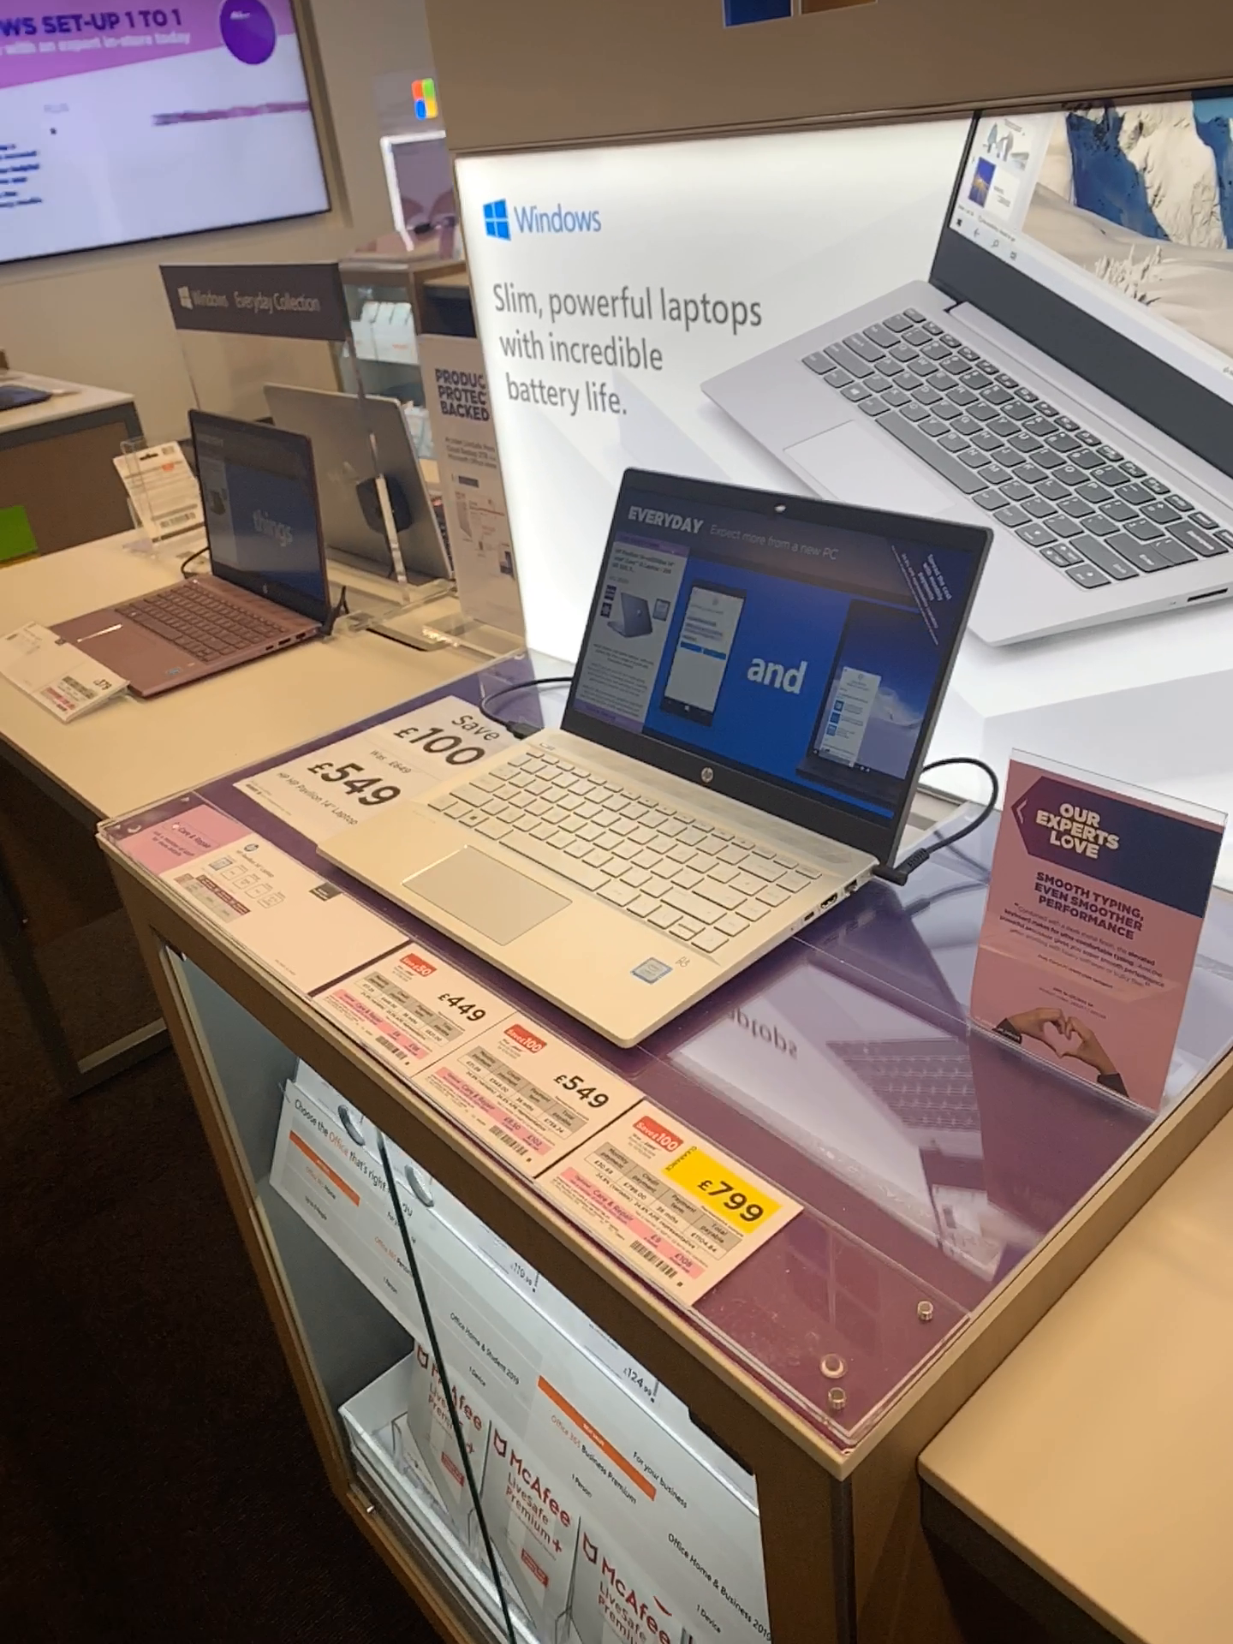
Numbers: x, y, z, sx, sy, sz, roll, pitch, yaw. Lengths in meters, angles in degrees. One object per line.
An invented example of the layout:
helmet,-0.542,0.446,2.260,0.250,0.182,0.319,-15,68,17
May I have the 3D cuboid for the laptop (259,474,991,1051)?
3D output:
laptop,0.008,-0.073,0.808,0.323,0.171,0.314,-29,36,-32
